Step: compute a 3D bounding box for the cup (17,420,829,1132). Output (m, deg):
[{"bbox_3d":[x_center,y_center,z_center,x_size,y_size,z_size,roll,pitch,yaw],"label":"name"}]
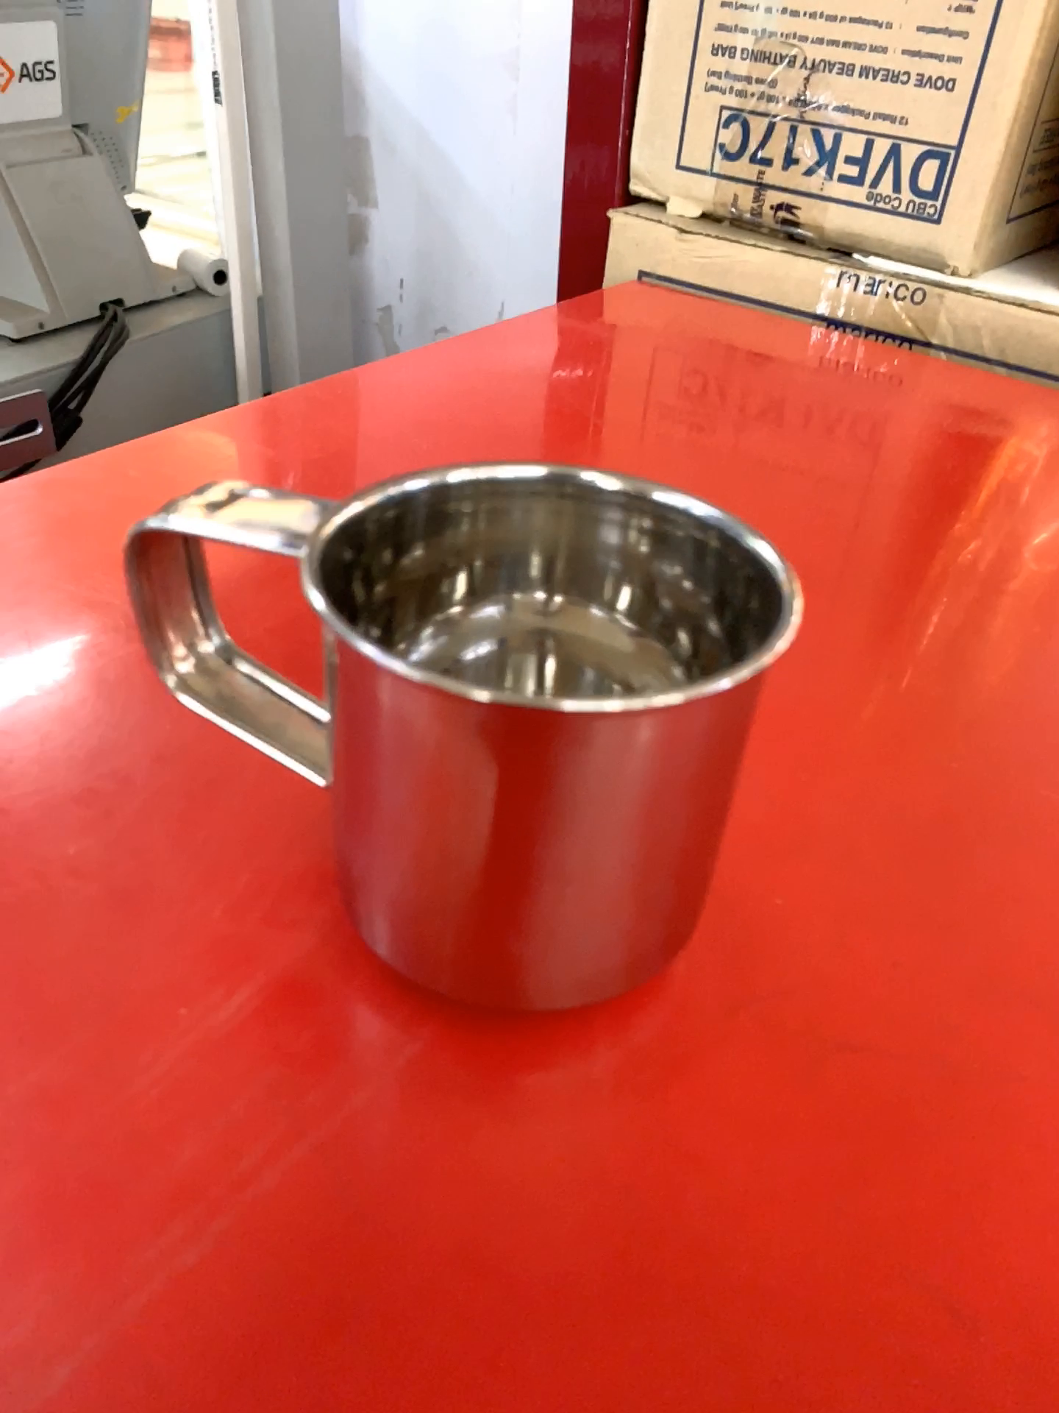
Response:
[{"bbox_3d":[-0.014,0.004,0.201,0.110,0.069,0.081,16,36,16],"label":"cup"}]
